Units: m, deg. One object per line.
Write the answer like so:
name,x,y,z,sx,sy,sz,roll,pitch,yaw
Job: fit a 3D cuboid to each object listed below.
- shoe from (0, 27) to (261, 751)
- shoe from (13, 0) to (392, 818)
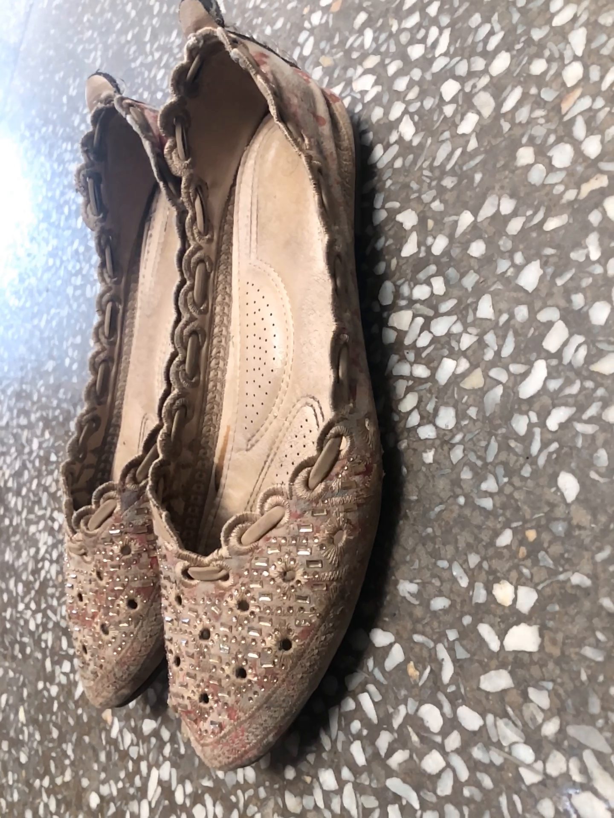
shoe,-0.086,-0.009,0.290,0.090,0.068,0.254,-5,76,44
shoe,-0.029,-0.013,0.230,0.090,0.068,0.254,-10,73,43
